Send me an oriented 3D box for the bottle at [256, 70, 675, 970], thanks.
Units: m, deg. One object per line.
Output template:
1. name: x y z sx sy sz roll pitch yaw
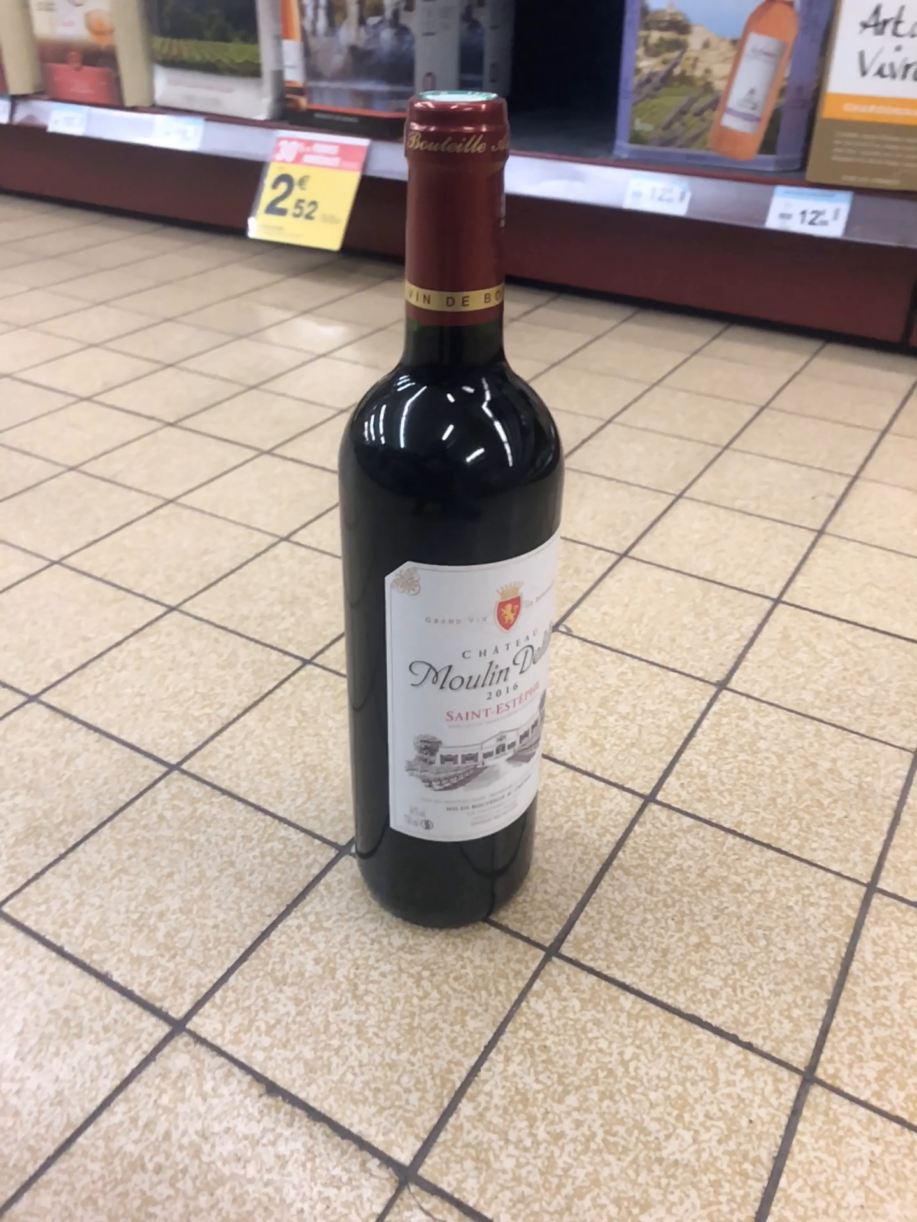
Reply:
1. bottle: -0.003 -0.018 0.338 0.080 0.281 0.080 1 32 -1
